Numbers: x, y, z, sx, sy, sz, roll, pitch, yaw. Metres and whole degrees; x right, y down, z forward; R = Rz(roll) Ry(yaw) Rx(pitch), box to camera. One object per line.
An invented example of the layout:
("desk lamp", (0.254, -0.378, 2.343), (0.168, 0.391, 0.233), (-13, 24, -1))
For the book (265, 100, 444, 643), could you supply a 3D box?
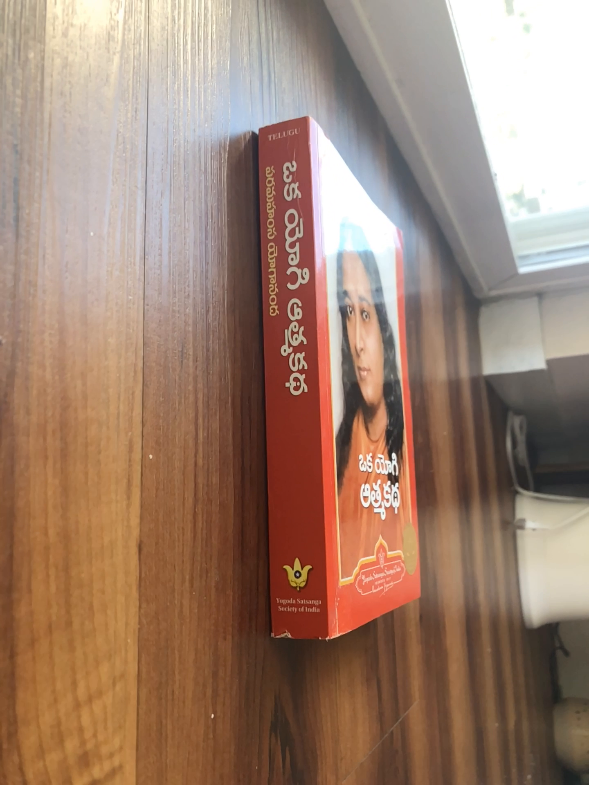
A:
("book", (0.035, -0.003, 0.324), (0.149, 0.030, 0.214), (21, 65, -63))
